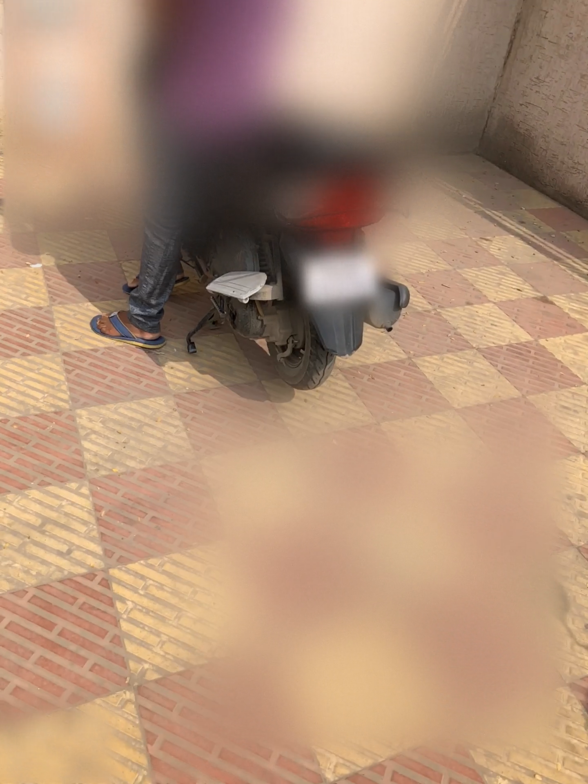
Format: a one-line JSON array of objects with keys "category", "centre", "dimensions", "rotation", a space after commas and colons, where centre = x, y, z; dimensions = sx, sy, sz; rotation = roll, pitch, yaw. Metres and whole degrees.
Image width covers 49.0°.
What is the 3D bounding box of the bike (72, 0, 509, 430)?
[{"category": "bike", "centre": [-0.203, -0.755, 2.136], "dimensions": [0.576, 0.987, 1.510], "rotation": [-13, 42, -26]}]
